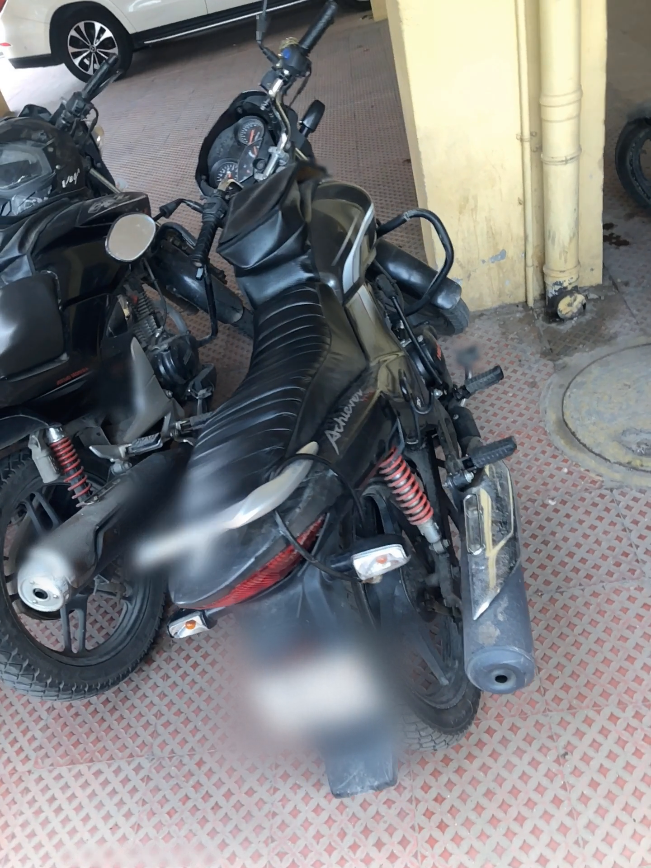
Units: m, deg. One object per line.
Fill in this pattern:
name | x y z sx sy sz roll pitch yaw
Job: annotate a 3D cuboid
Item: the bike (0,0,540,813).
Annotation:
bike | -0.144 -0.255 1.746 0.731 1.125 1.769 -12 39 6
